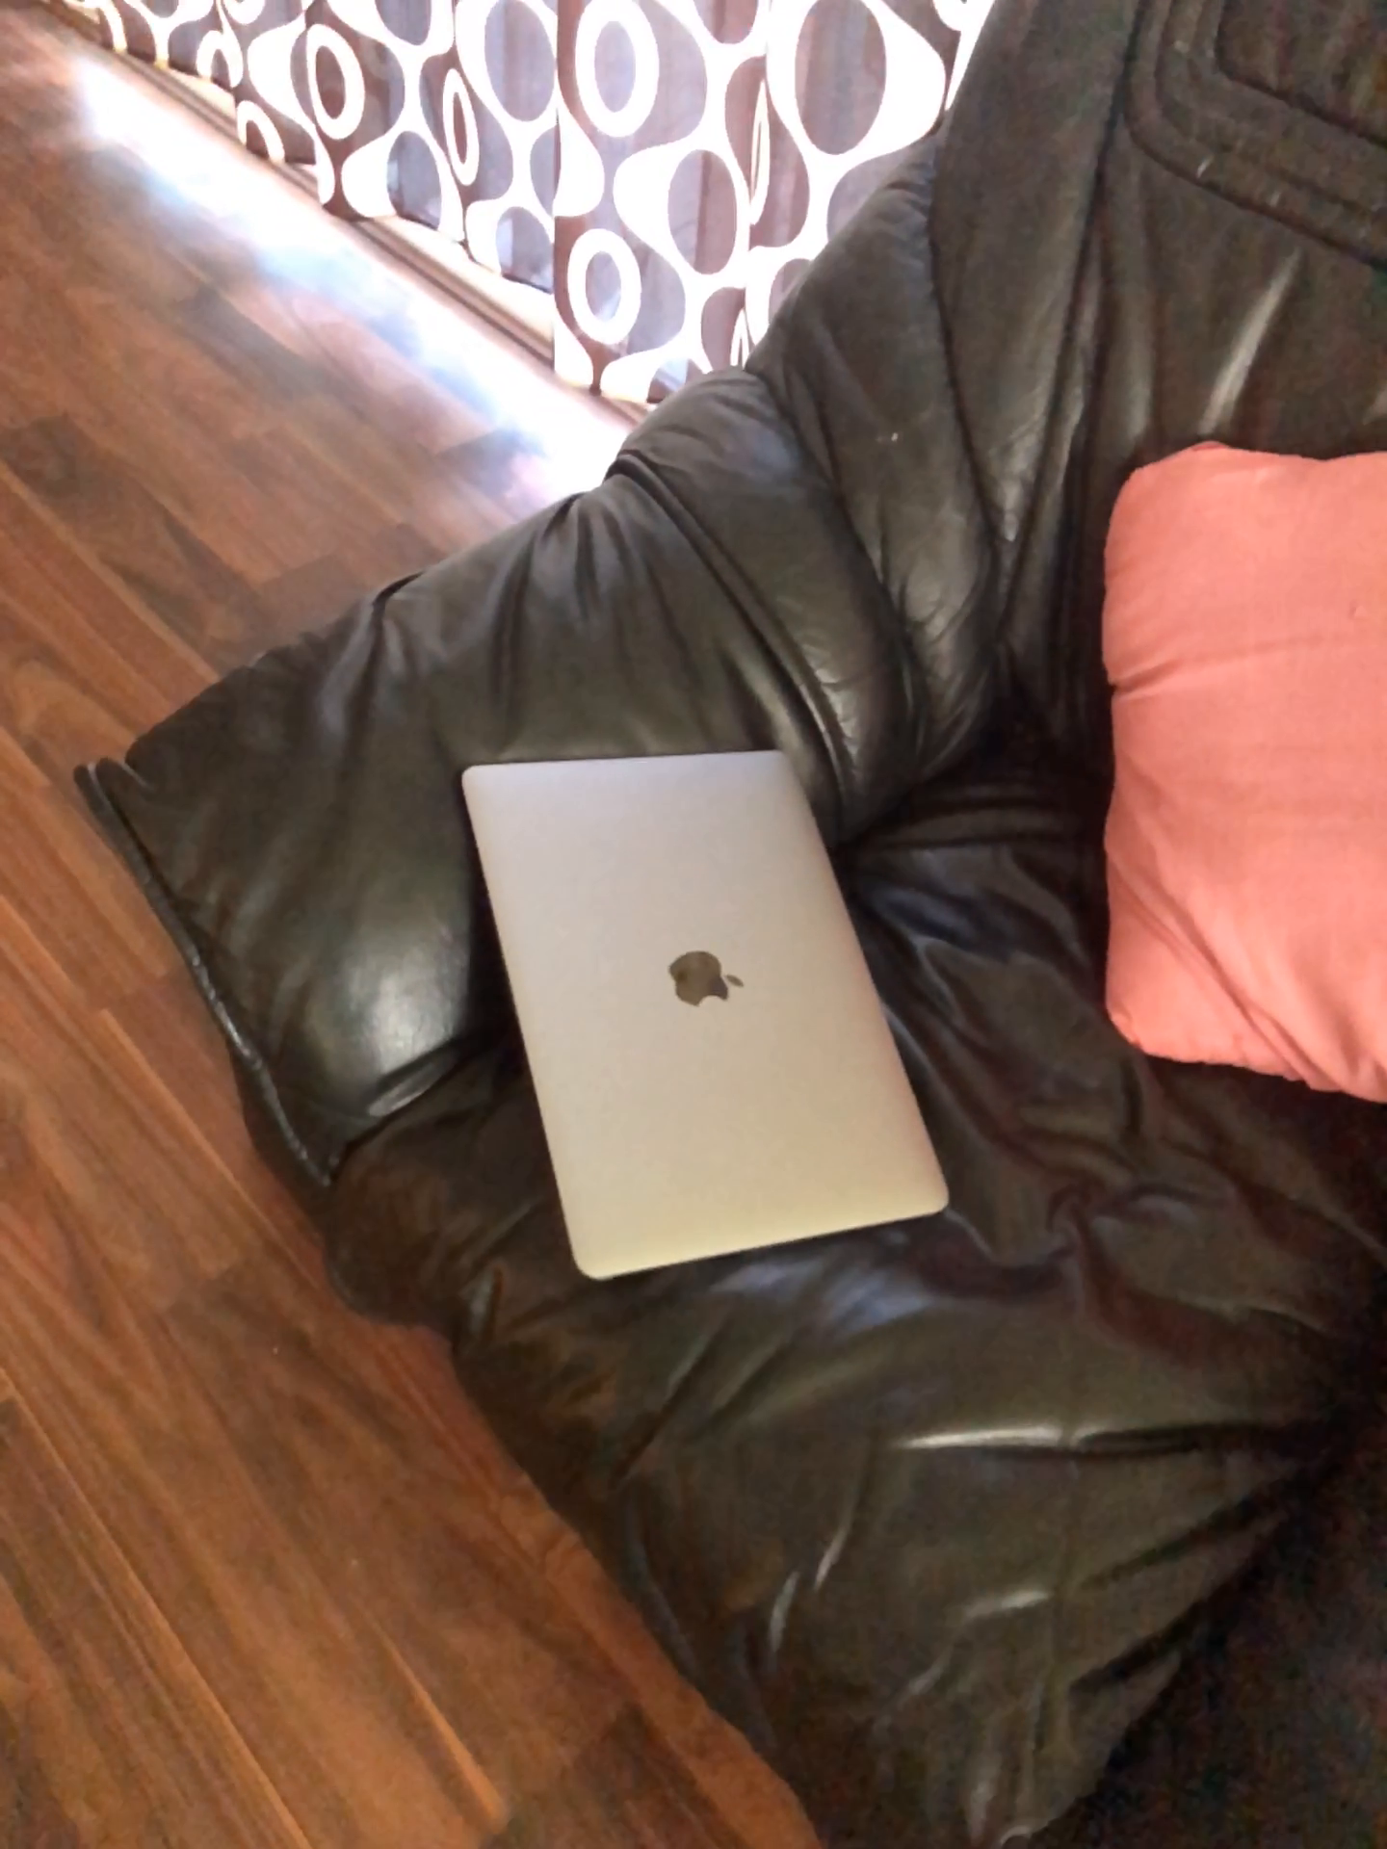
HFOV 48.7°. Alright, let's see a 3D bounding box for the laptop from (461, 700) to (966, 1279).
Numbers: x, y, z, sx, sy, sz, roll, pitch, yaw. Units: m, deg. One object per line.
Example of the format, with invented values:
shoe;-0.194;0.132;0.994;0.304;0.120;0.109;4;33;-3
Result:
laptop;0.005;0.015;0.732;0.185;0.036;0.265;-5;61;-24
